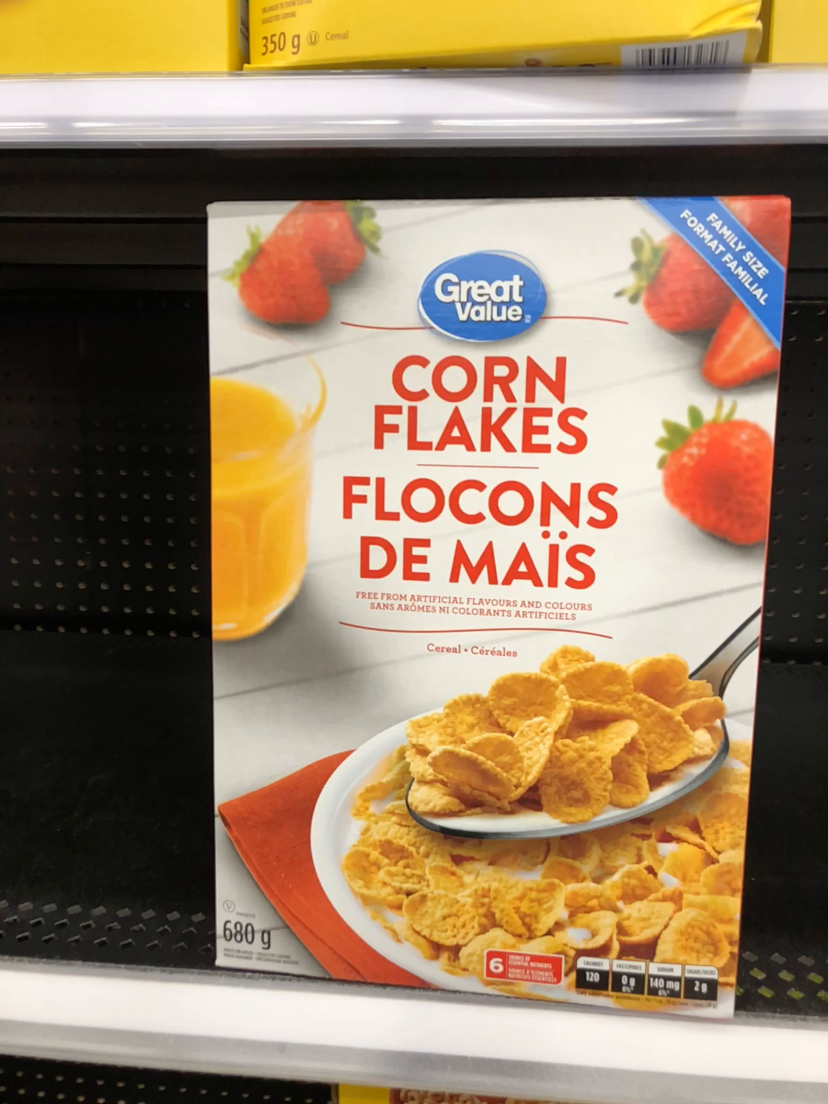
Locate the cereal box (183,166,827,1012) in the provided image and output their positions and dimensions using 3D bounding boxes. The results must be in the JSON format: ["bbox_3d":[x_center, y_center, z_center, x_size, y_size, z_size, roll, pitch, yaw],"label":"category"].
[{"bbox_3d":[0.033,0.014,0.407,0.240,0.329,0.090,2,9,7],"label":"cereal box"}]
